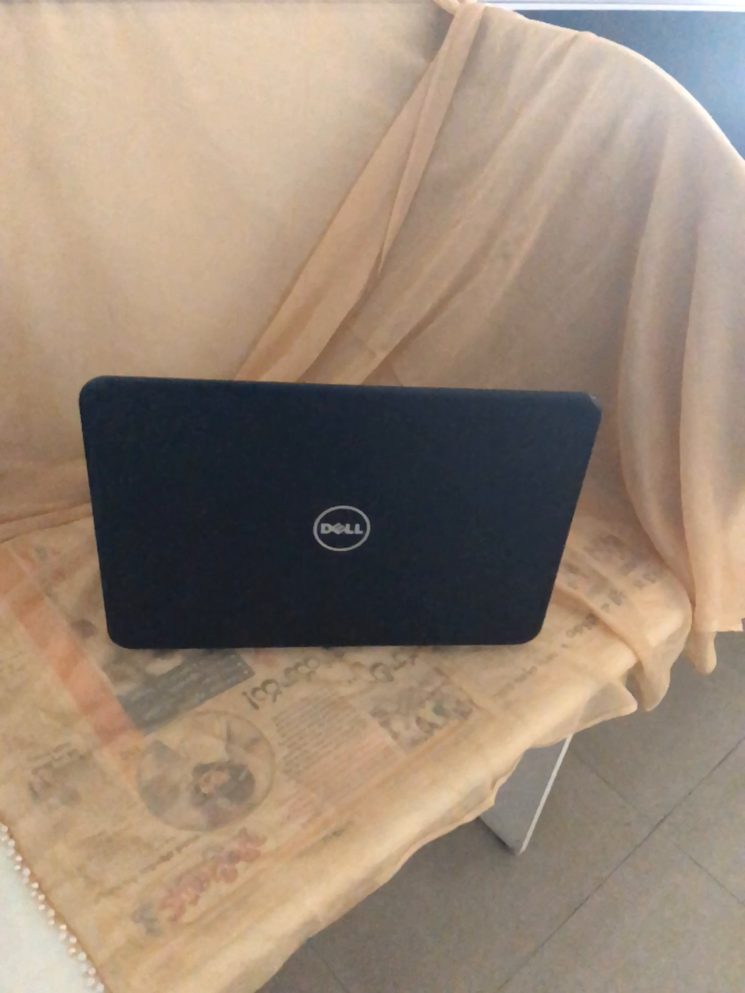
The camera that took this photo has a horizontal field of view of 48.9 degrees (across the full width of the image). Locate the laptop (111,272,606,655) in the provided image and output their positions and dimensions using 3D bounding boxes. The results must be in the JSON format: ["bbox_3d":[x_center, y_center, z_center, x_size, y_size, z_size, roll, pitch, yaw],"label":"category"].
[{"bbox_3d":[-0.033,-0.036,0.724,0.332,0.237,0.258,0,36,-8],"label":"laptop"}]
